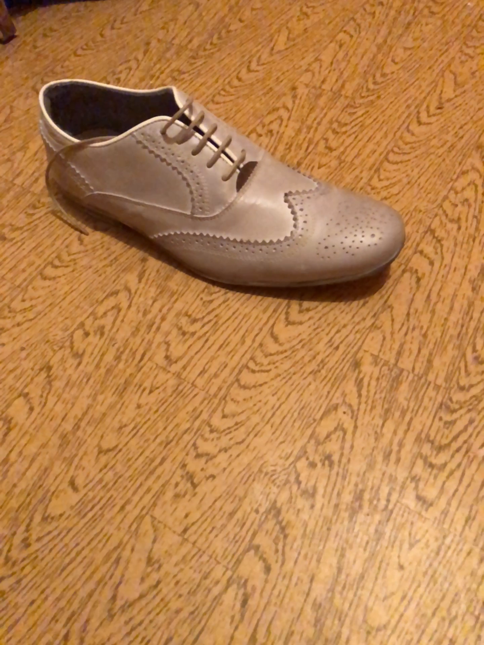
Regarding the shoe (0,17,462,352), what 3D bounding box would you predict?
[{"bbox_3d":[-0.022,-0.108,0.390,0.300,0.110,0.110,23,62,17],"label":"shoe"}]
